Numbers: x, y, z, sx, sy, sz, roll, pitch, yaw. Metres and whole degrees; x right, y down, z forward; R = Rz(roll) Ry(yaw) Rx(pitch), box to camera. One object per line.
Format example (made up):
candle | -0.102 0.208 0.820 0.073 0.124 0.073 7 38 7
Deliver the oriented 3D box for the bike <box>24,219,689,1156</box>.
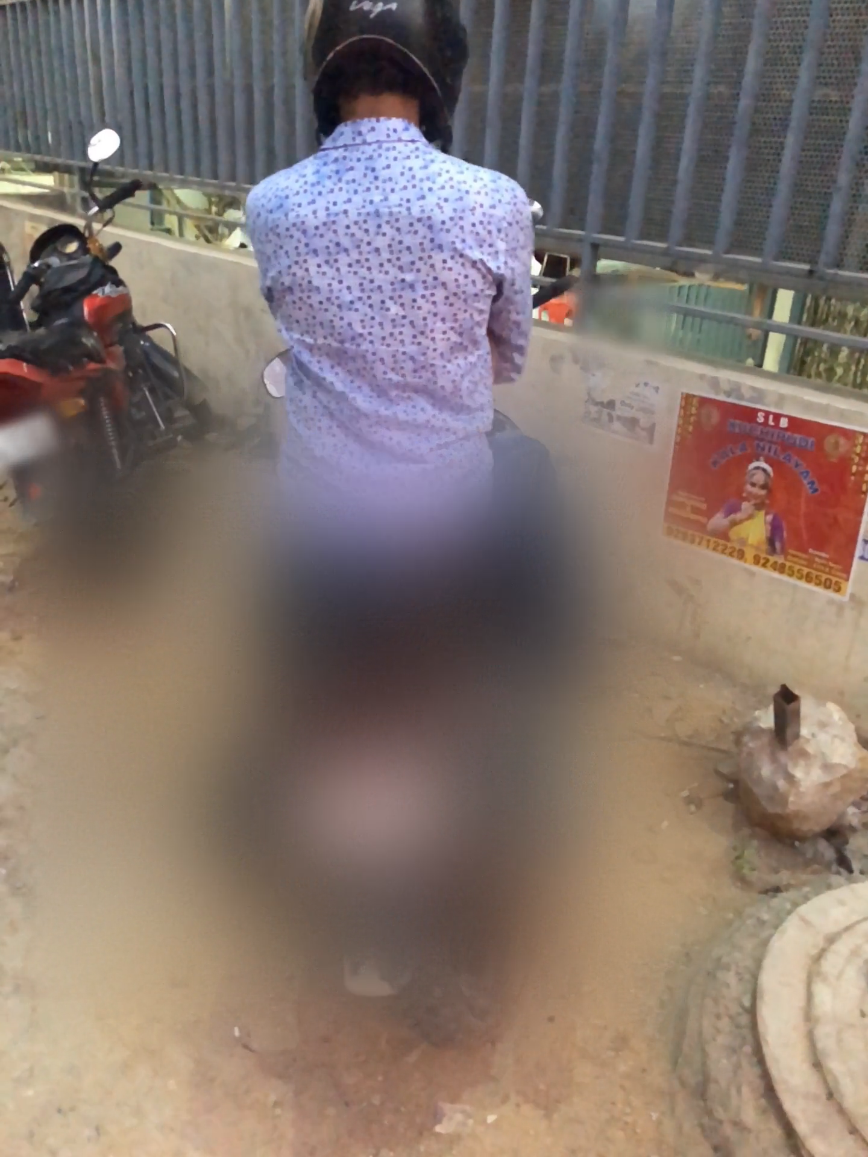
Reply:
bike | -0.080 -0.062 2.092 0.746 1.144 1.810 5 26 2
